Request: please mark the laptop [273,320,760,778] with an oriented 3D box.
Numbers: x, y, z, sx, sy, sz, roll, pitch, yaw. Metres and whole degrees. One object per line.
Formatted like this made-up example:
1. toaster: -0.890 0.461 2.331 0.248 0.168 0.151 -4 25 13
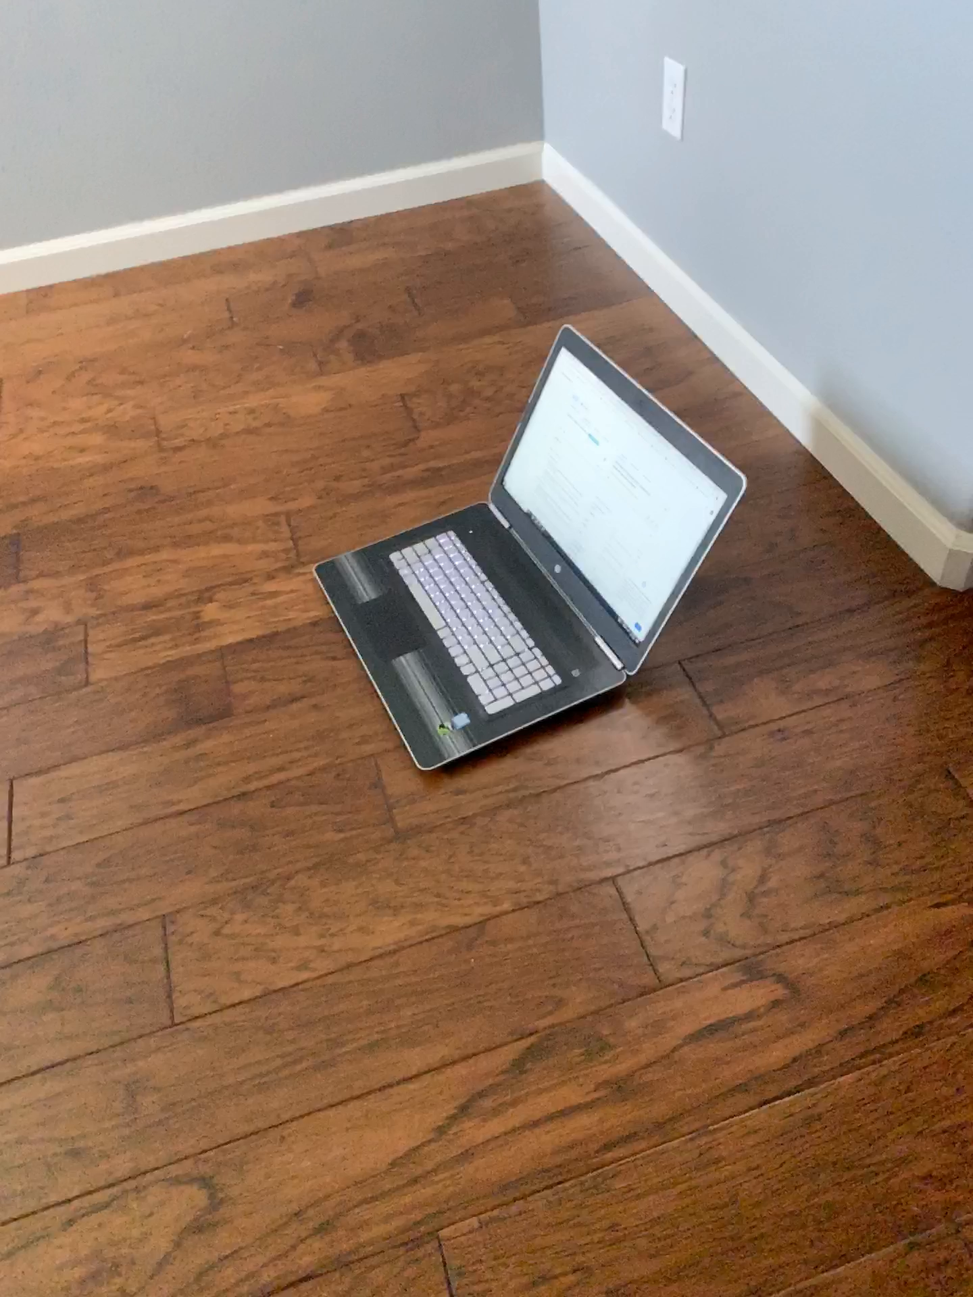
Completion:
1. laptop: 0.022 -0.145 1.220 0.422 0.233 0.413 -23 48 -14
